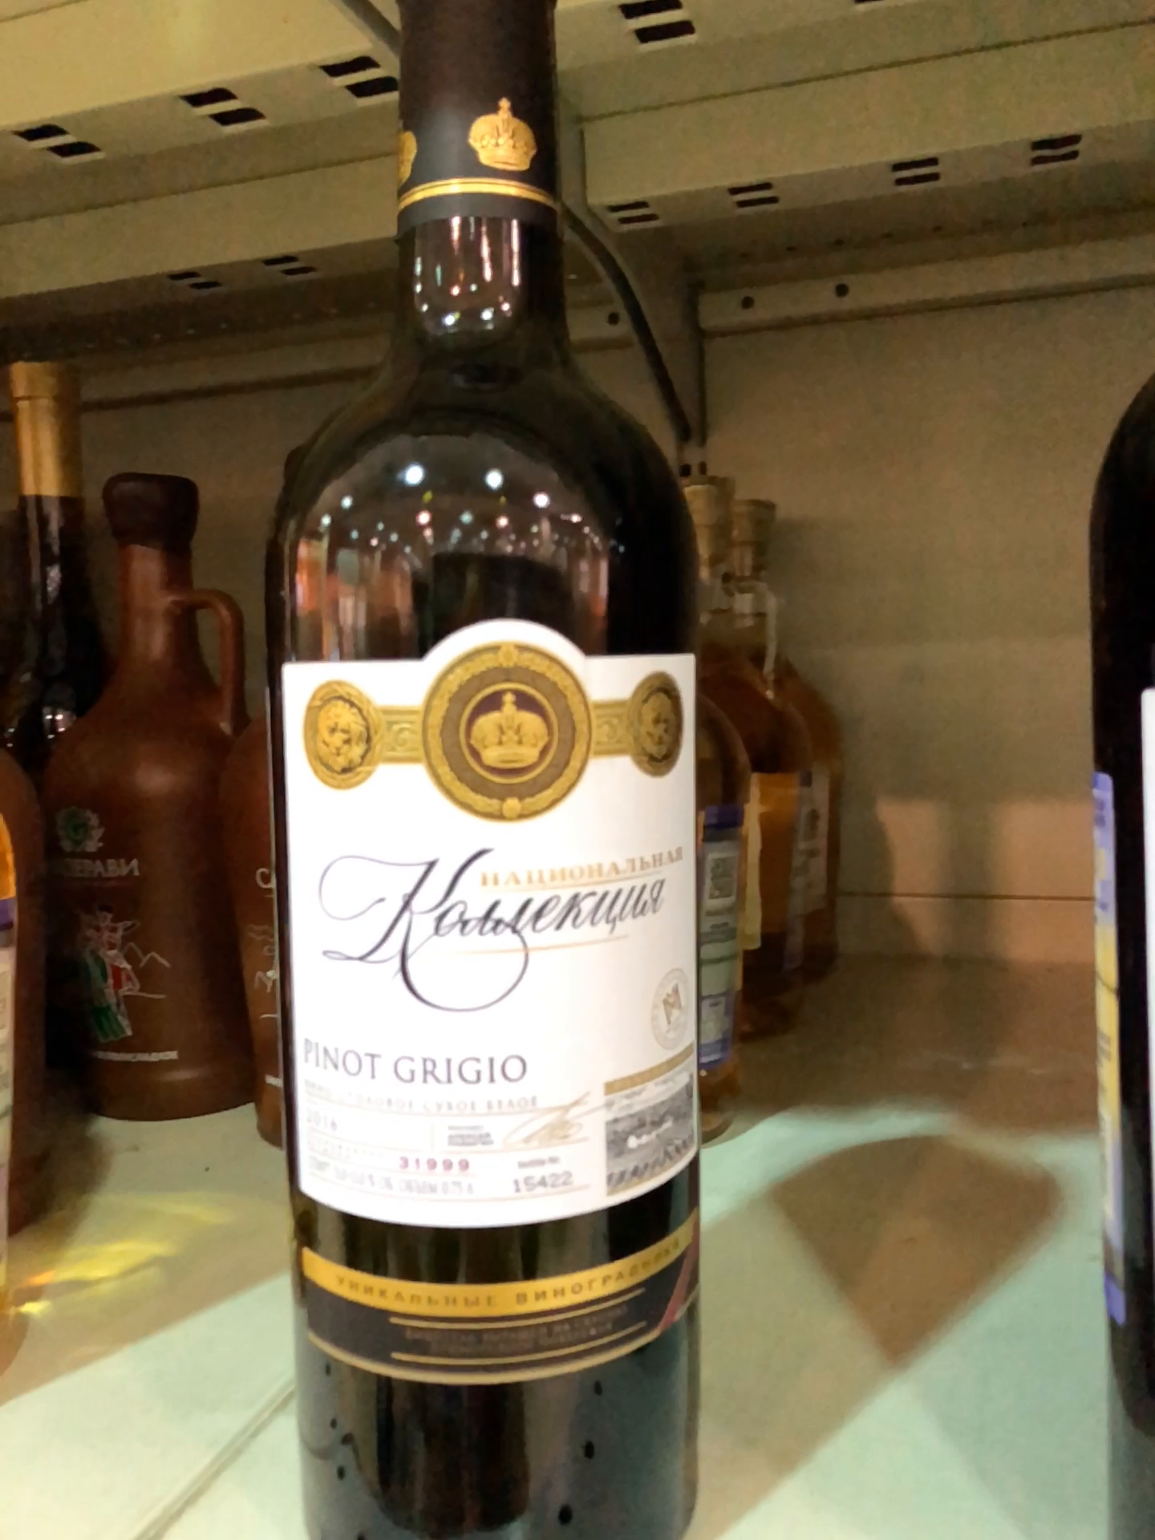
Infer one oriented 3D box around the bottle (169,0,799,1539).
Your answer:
[{"bbox_3d":[-0.017,-0.015,0.251,0.090,0.320,0.090,-2,3,0],"label":"bottle"}]
